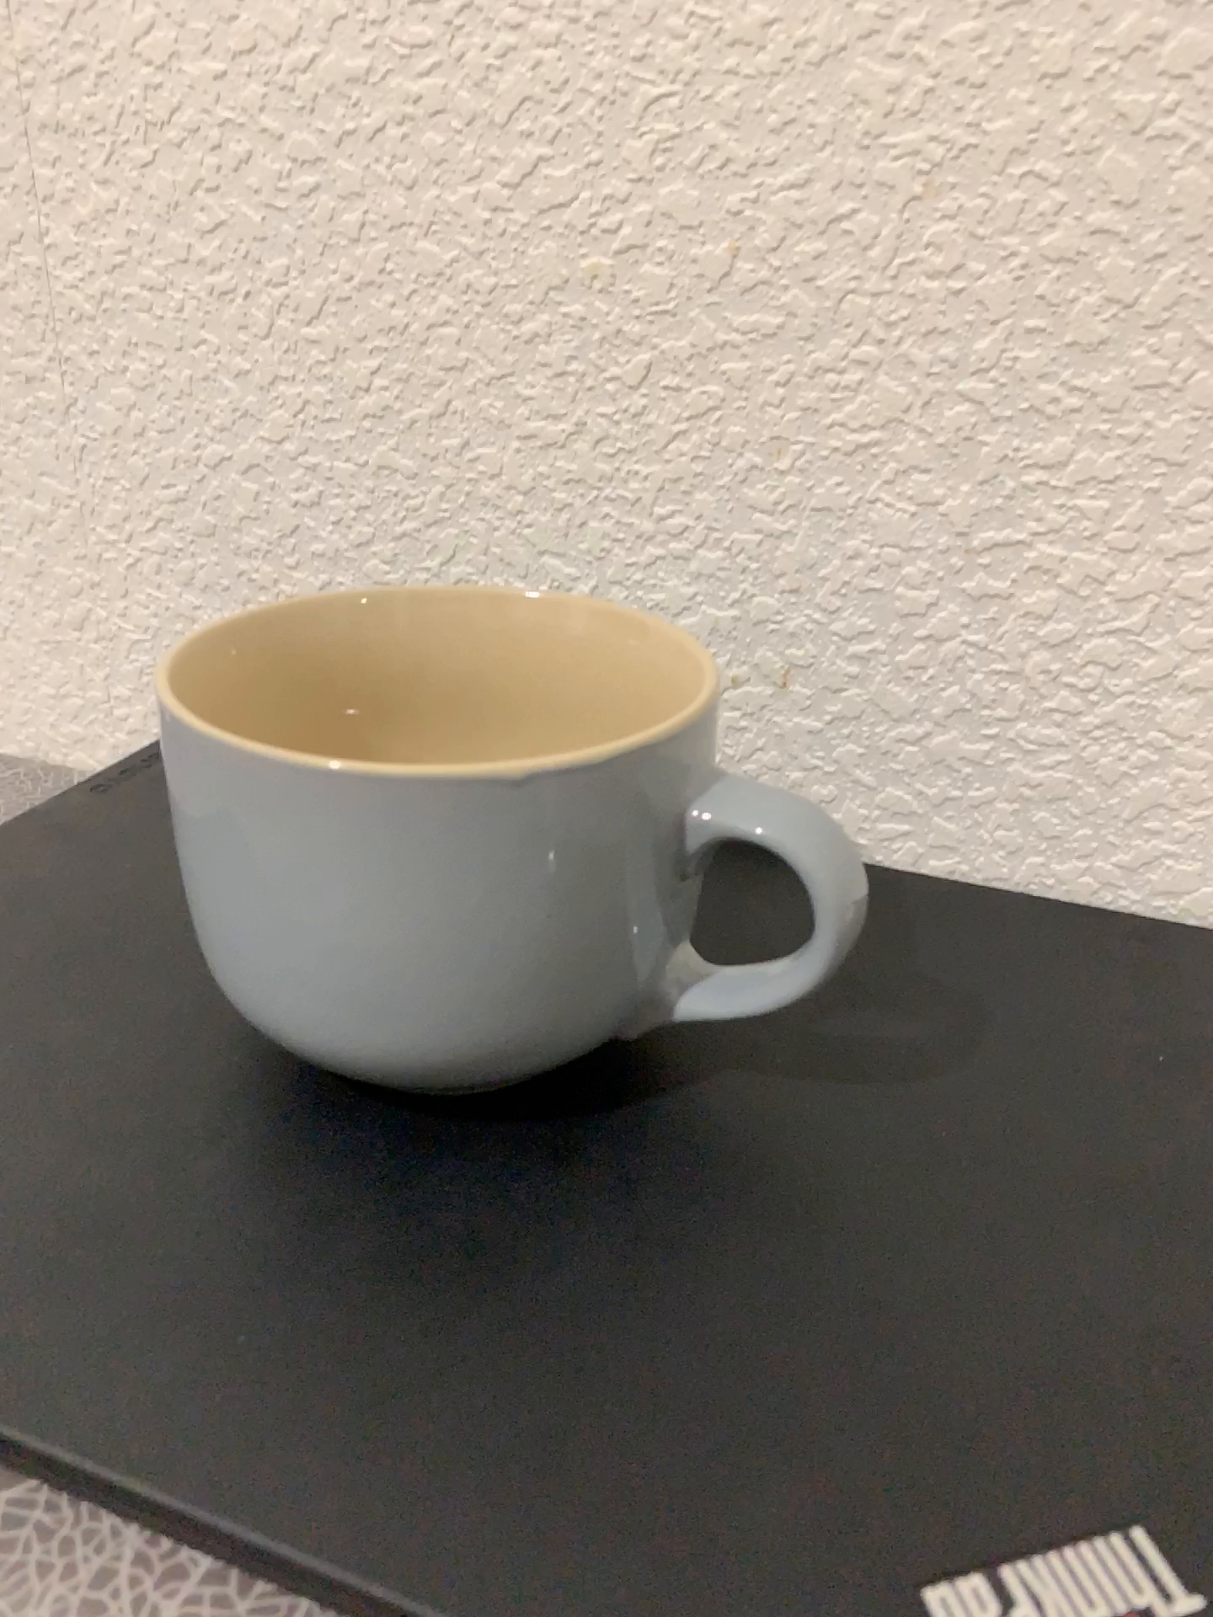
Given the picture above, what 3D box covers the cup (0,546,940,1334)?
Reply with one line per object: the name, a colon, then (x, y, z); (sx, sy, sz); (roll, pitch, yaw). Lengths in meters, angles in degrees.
cup: (-0.020, 0.008, 0.244); (0.133, 0.079, 0.111); (14, 28, 25)
